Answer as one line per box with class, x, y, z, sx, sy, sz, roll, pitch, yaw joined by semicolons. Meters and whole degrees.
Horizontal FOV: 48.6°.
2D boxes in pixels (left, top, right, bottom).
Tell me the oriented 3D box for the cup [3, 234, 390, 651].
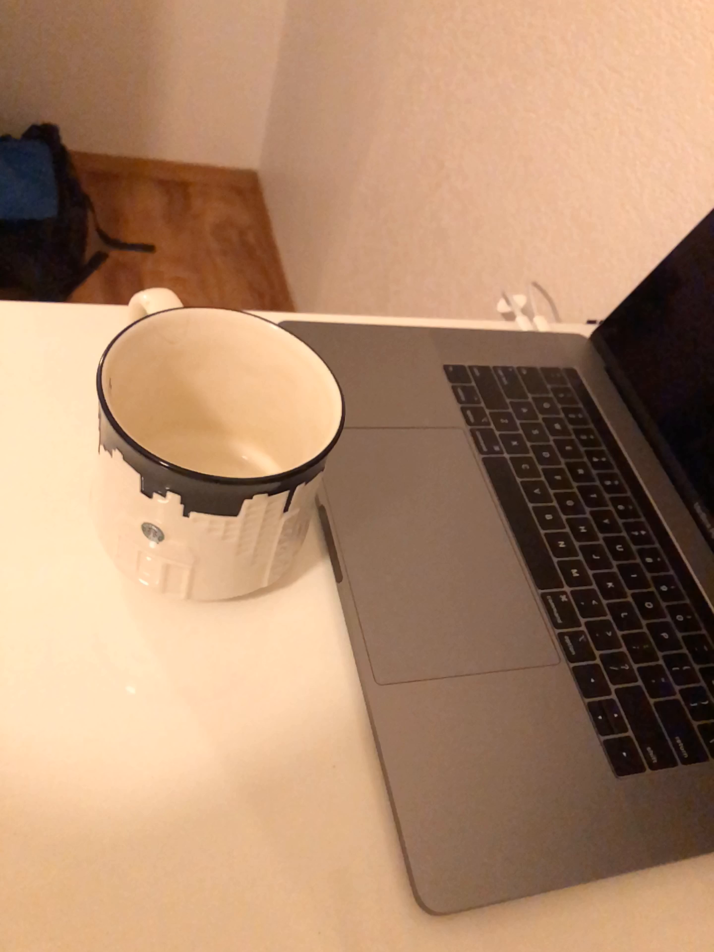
cup;-0.083;-0.023;0.380;0.110;0.099;0.150;-20;59;-32
